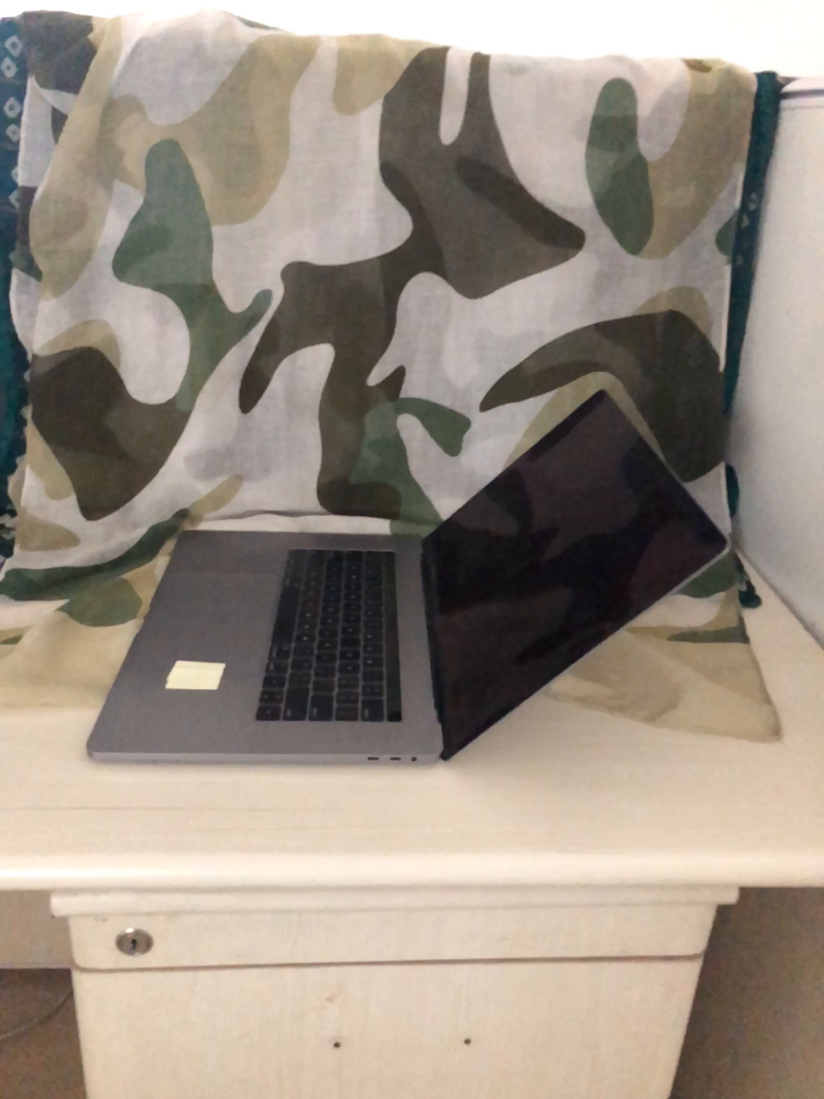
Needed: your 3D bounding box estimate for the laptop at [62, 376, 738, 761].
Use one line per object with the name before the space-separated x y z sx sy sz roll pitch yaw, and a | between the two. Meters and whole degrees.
laptop | -0.016 -0.009 0.725 0.402 0.165 0.343 1 25 -3
